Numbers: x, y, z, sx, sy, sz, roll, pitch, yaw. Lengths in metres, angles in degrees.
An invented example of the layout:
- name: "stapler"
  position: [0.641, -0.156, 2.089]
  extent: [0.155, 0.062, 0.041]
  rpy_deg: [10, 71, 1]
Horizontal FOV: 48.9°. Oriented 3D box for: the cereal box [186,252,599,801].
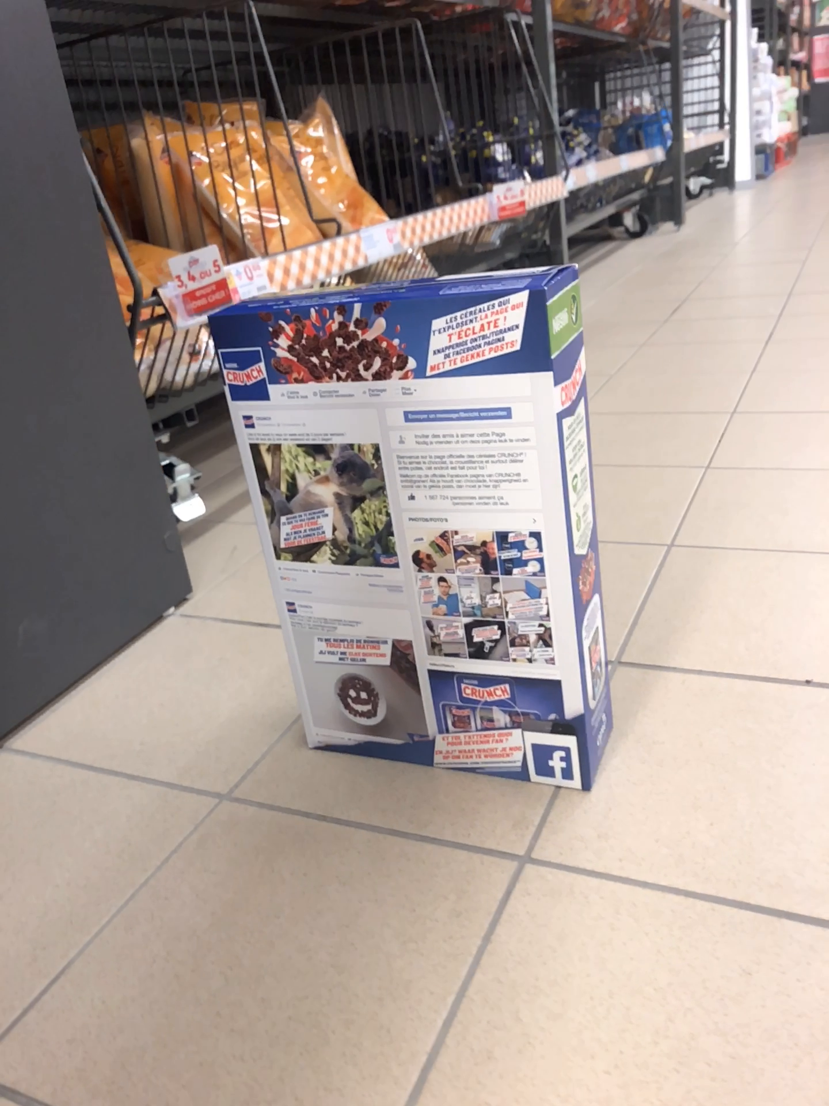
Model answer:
- name: "cereal box"
  position: [-0.002, -0.011, 0.528]
  extent: [0.190, 0.289, 0.070]
  rpy_deg: [3, 24, 24]
